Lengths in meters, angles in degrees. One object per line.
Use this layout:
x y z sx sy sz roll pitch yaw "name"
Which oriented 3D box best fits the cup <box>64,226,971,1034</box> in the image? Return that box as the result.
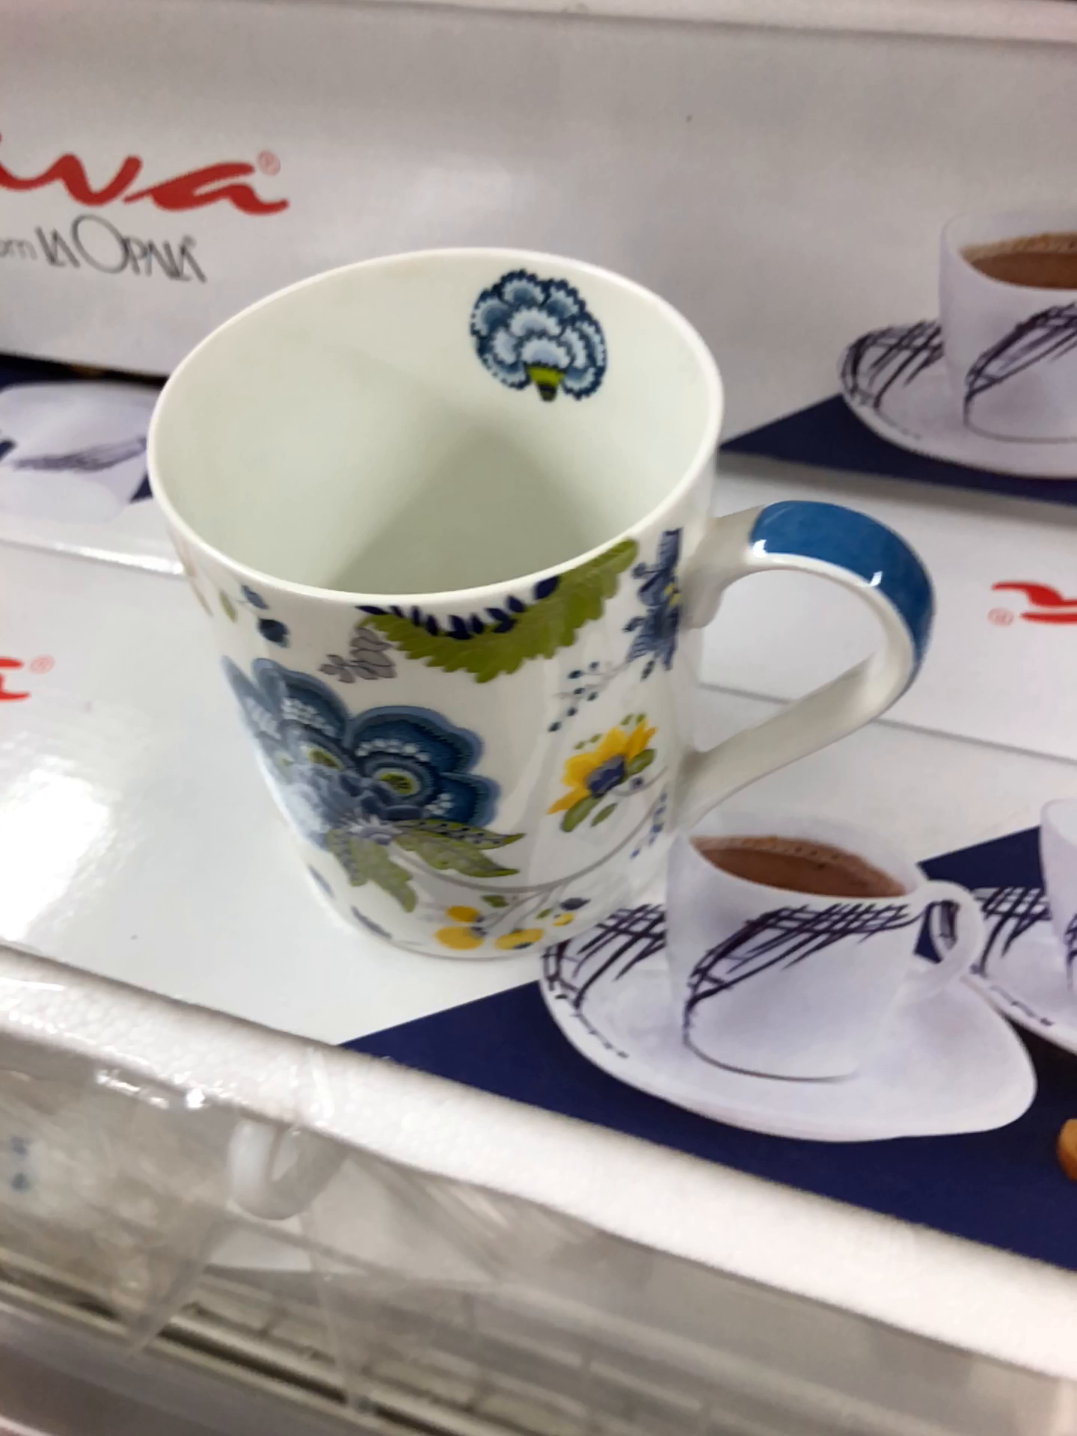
0.005 -0.012 0.186 0.100 0.089 0.070 8 53 10 "cup"
